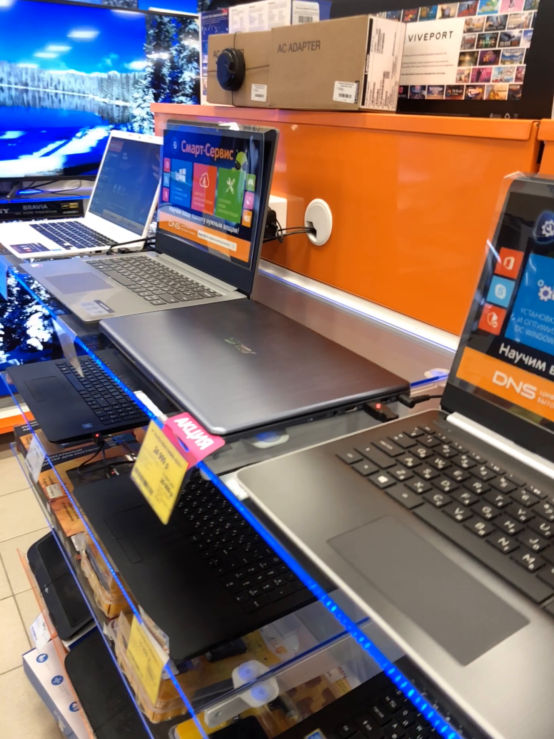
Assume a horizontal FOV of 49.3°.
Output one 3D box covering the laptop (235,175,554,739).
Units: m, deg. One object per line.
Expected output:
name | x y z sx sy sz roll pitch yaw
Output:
laptop | 0.176 0.017 0.352 0.271 0.205 0.337 -13 28 -31

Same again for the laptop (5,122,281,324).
laptop | -0.211 -0.250 0.921 0.289 0.224 0.354 -13 27 -32

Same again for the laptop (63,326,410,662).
laptop | -0.076 0.123 0.840 0.313 0.227 0.378 -12 26 -30

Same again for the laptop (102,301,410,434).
laptop | -0.043 -0.022 0.678 0.214 0.001 0.325 -12 26 -29
